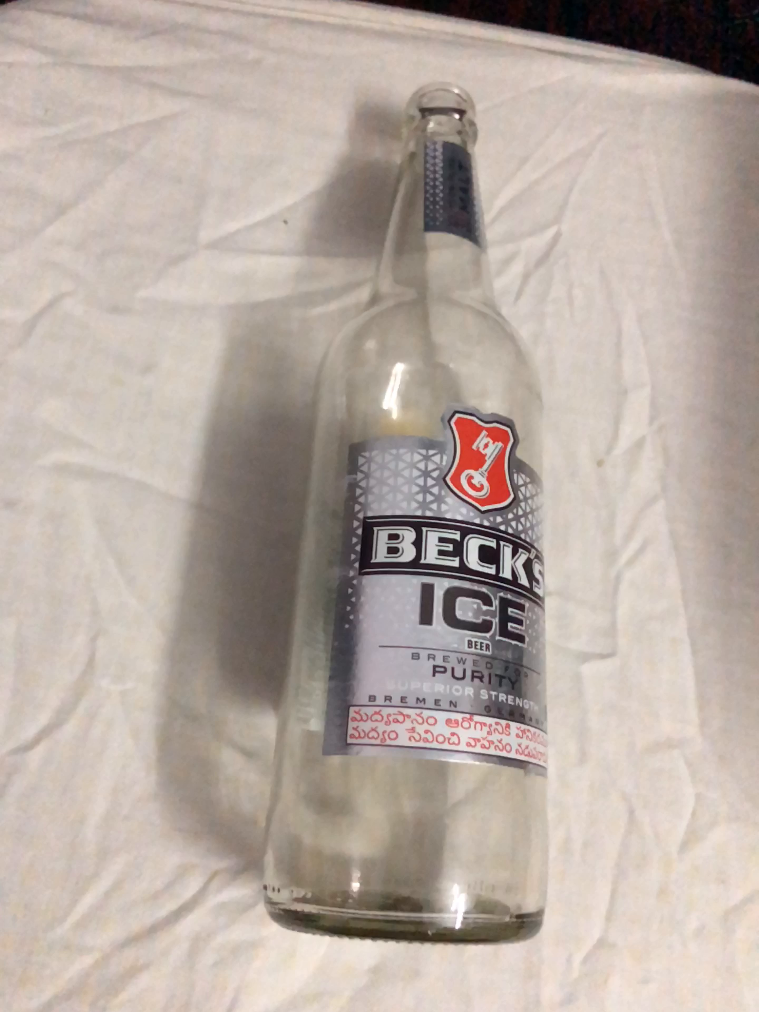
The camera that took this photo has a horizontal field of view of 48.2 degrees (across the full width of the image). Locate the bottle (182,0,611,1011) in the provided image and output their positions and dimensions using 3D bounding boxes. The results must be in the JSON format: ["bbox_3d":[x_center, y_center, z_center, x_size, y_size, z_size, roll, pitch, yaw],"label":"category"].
[{"bbox_3d":[0.008,-0.025,0.232,0.080,0.080,0.280,5,74,-6],"label":"bottle"}]
